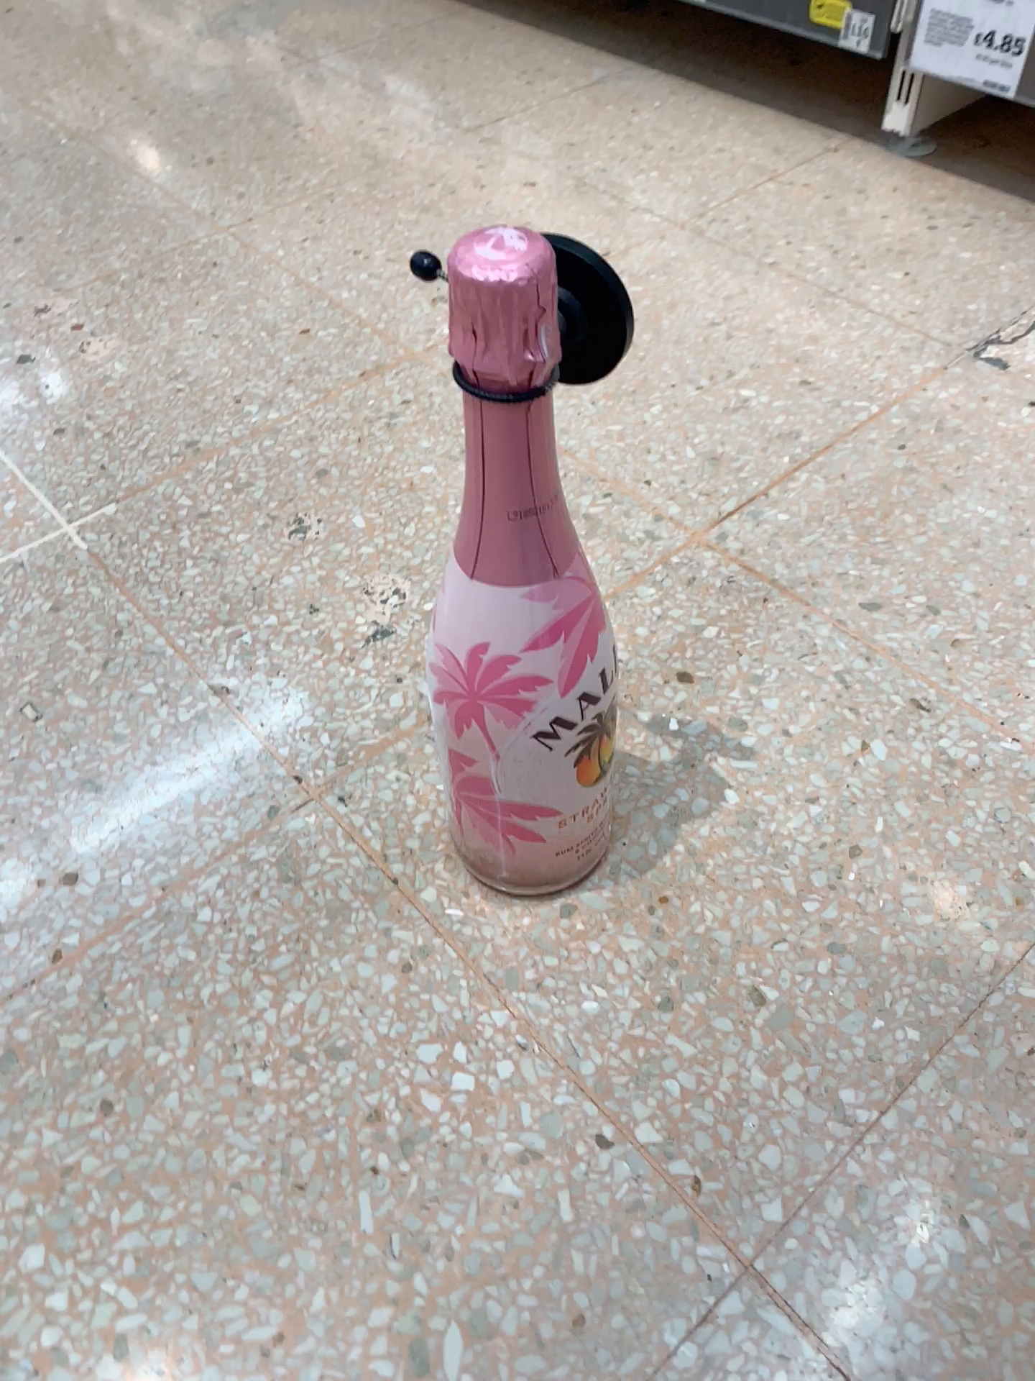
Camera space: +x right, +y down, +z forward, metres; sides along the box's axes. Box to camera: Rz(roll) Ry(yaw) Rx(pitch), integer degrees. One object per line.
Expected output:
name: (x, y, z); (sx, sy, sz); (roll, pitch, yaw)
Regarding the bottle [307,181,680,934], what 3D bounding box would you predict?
bottle: (0.001, -0.026, 0.428); (0.080, 0.307, 0.080); (-2, 49, 2)
